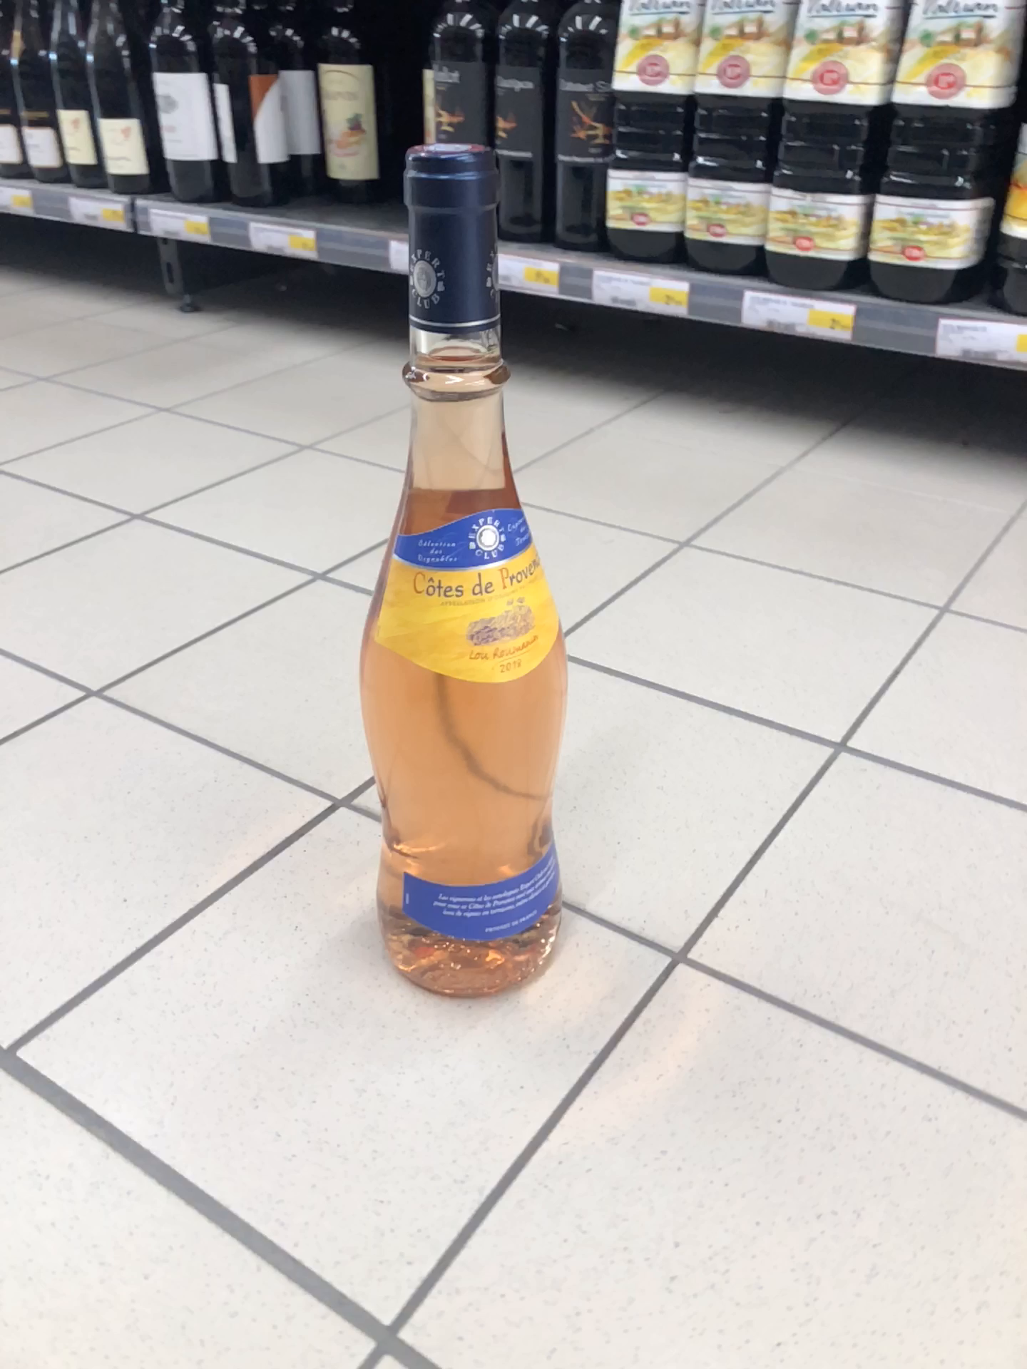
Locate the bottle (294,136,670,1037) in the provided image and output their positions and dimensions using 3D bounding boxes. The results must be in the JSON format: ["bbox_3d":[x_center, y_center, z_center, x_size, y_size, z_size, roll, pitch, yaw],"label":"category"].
[{"bbox_3d":[-0.012,-0.025,0.423,0.090,0.318,0.080,-13,32,-22],"label":"bottle"}]
